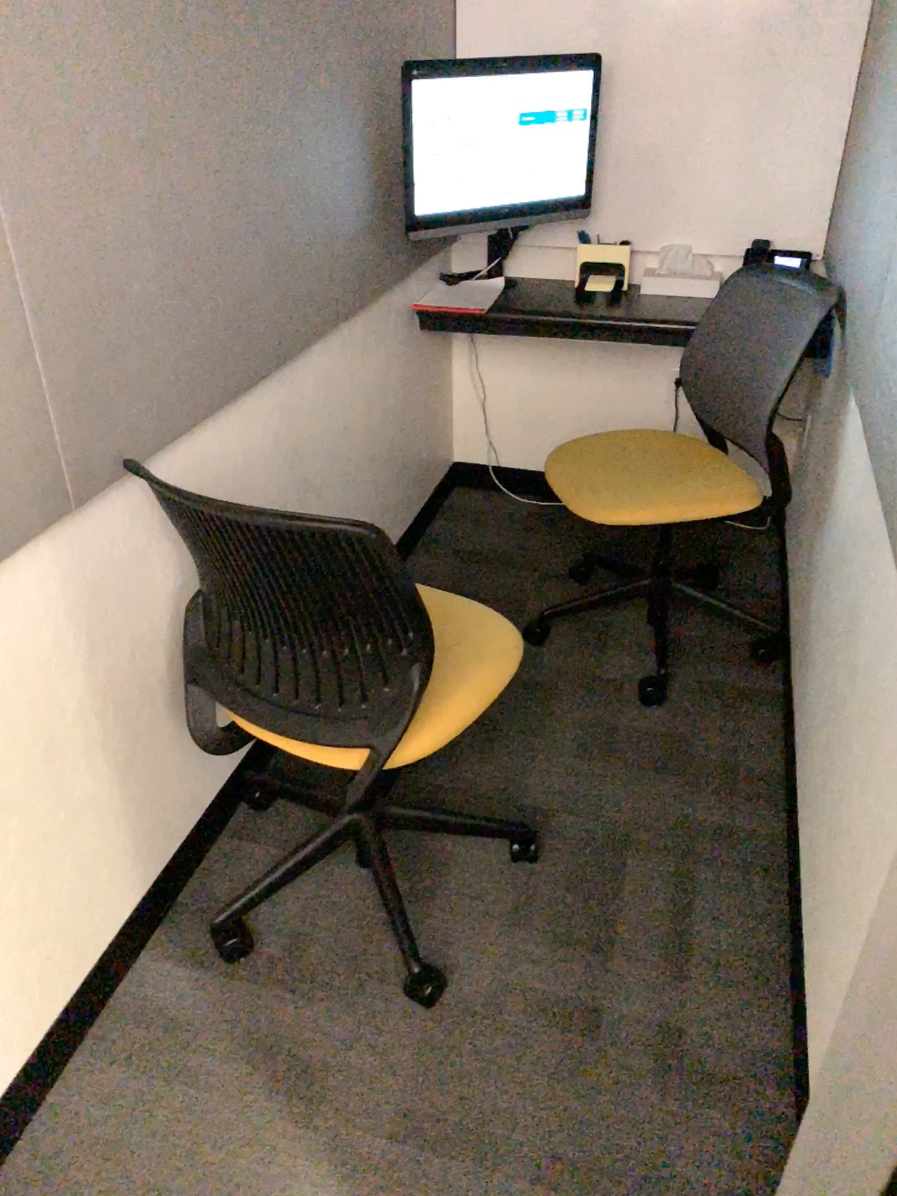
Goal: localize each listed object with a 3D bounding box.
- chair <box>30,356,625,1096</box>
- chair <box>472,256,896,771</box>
[{"bbox_3d":[-0.137,0.158,1.439,0.552,0.845,0.572,19,37,28],"label":"chair"},{"bbox_3d":[0.683,-0.307,2.612,0.950,1.034,0.926,-11,34,-17],"label":"chair"}]
